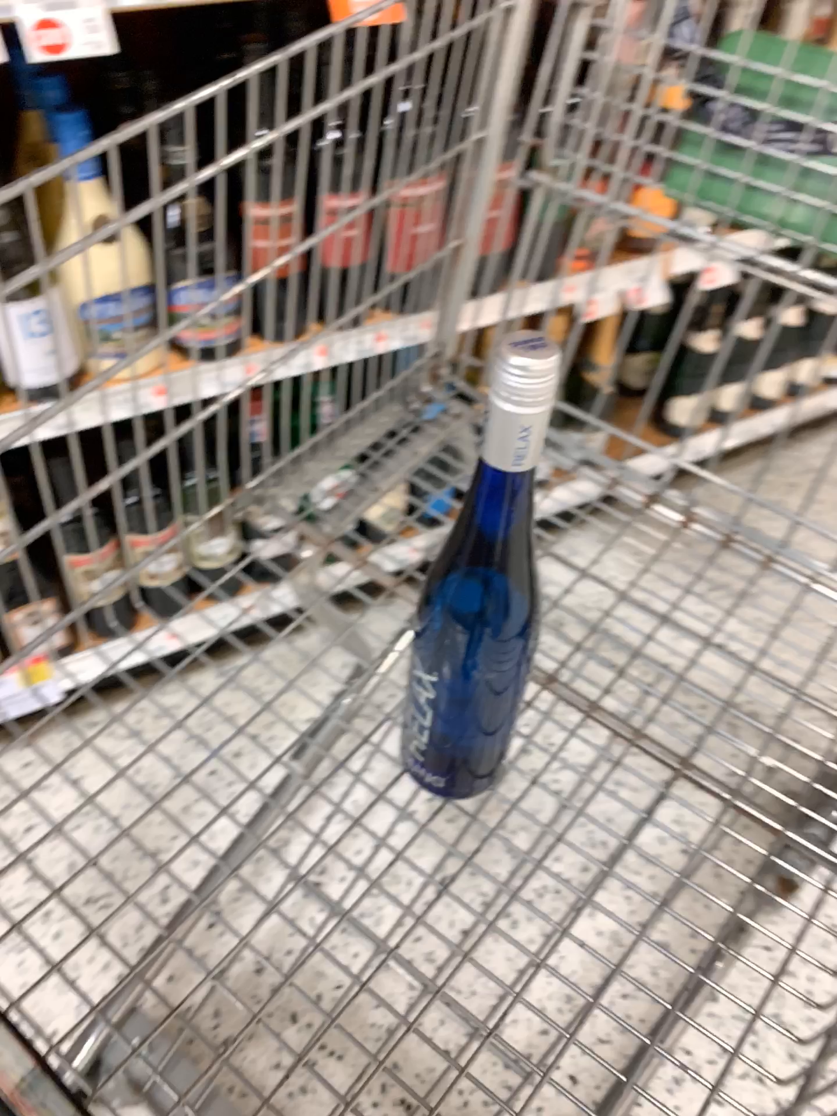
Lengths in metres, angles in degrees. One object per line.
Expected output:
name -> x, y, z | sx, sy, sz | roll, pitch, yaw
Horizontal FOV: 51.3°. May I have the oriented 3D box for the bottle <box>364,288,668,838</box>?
bottle -> 0.036, 0.024, 0.482 | 0.090, 0.307, 0.091 | 3, 46, -3
